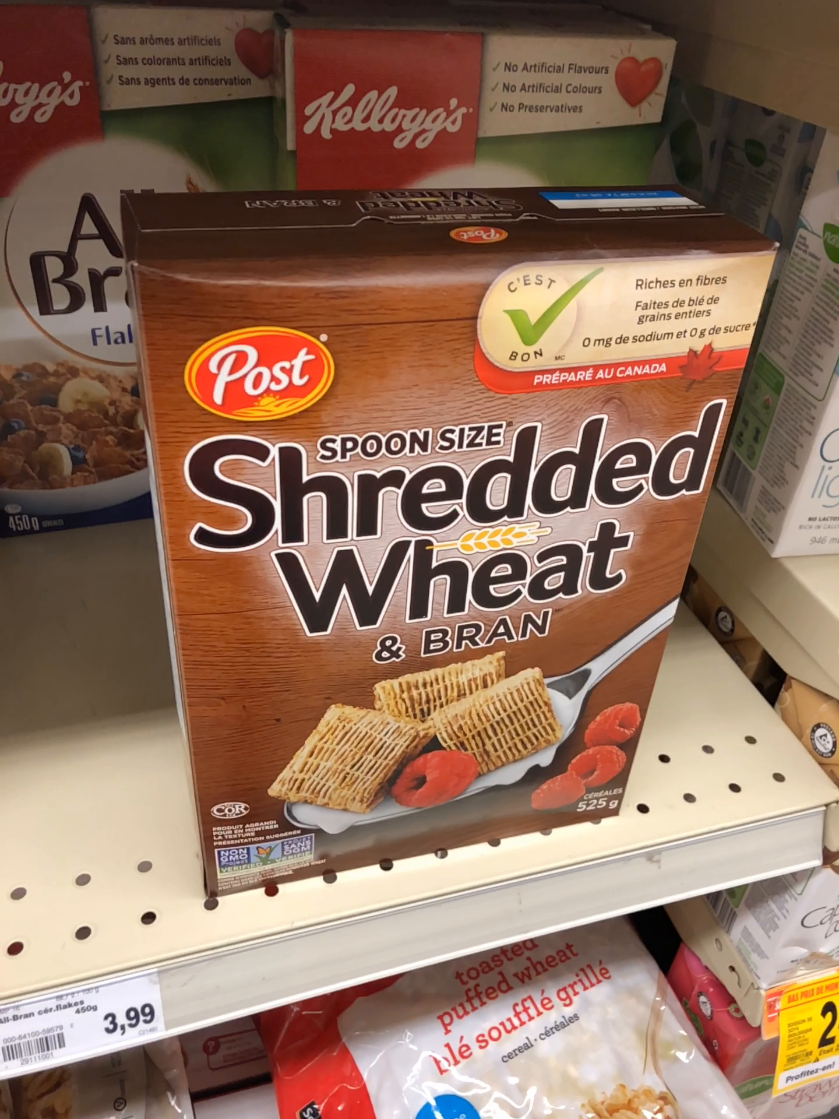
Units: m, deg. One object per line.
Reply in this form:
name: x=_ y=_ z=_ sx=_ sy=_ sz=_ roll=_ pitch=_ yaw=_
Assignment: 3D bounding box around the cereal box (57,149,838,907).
cereal box: x=0.006 y=-0.003 z=0.327 sx=0.210 sy=0.248 sz=0.071 roll=-7 pitch=38 yaw=-14
